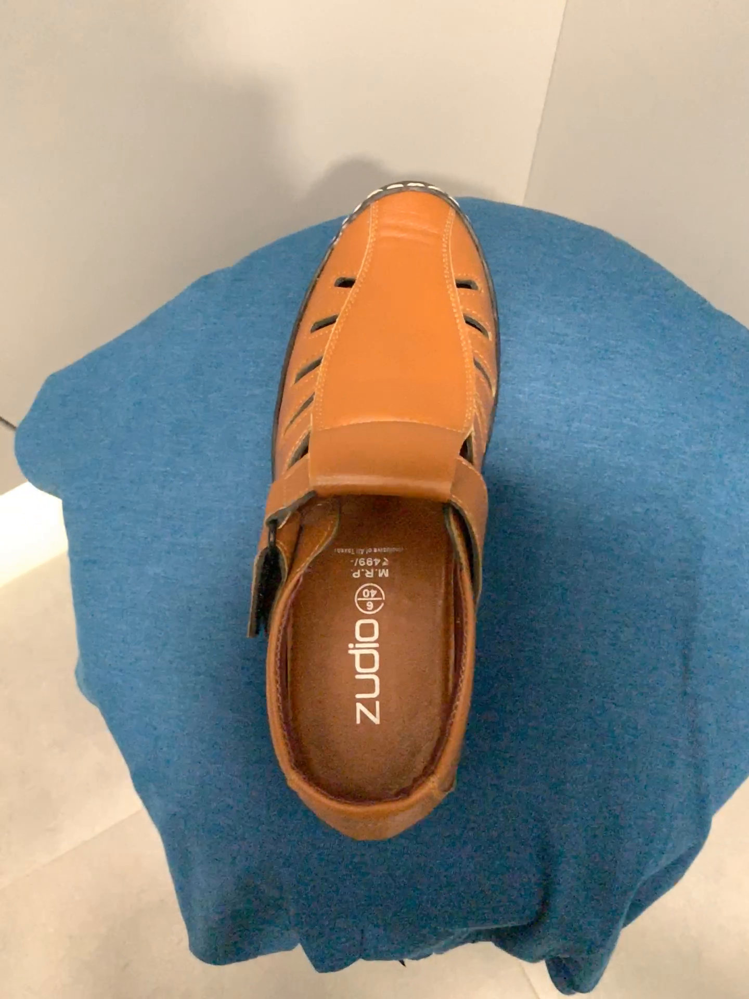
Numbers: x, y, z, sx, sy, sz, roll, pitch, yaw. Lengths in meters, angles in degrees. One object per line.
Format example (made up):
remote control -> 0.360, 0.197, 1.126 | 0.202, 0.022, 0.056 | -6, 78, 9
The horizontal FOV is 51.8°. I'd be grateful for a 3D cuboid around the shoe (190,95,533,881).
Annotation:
shoe -> 0.005, -0.010, 0.308 | 0.100, 0.100, 0.270 | 2, 76, 4
